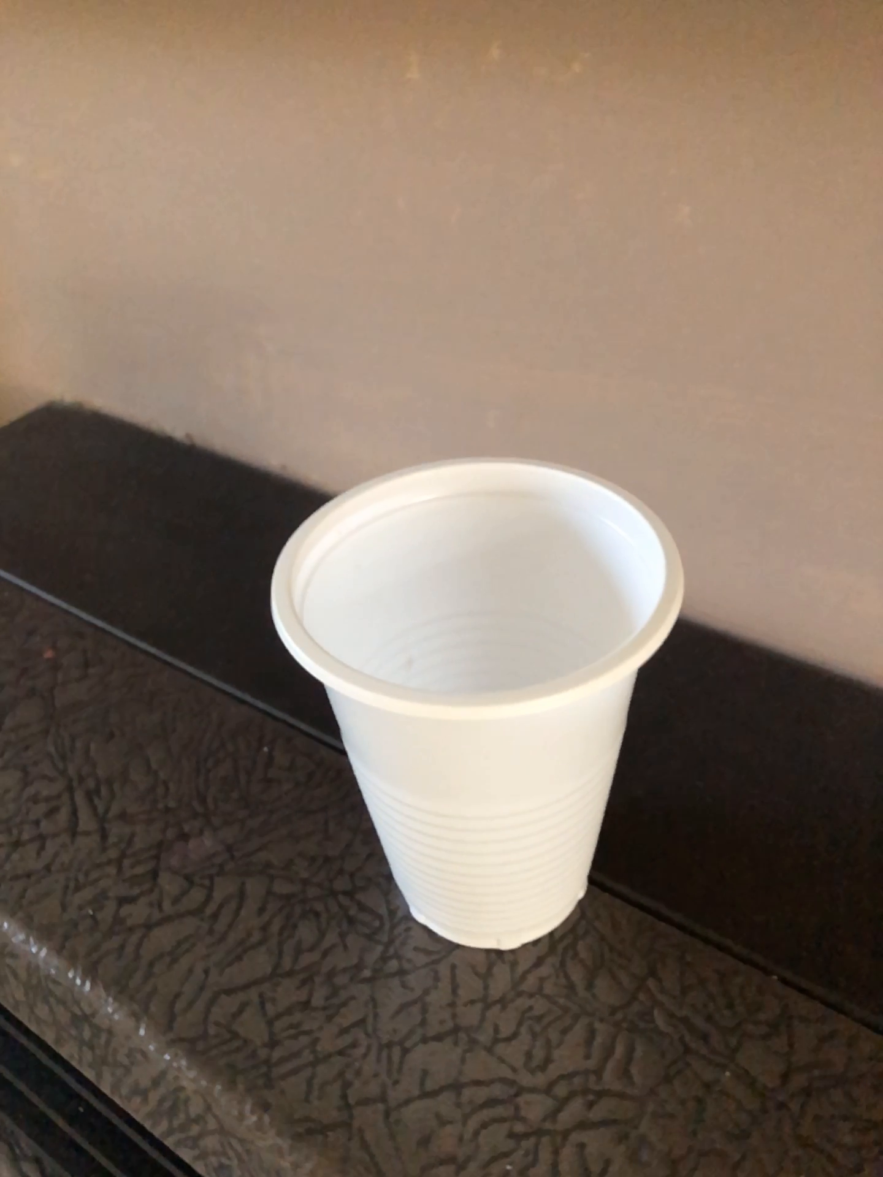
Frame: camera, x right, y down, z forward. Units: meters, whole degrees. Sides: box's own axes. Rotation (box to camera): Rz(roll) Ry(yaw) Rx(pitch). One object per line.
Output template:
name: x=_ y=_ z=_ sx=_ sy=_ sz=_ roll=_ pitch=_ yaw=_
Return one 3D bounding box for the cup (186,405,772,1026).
cup: x=0.010 y=0.020 z=0.203 sx=0.080 sy=0.073 sz=0.073 roll=-4 pitch=39 yaw=3
